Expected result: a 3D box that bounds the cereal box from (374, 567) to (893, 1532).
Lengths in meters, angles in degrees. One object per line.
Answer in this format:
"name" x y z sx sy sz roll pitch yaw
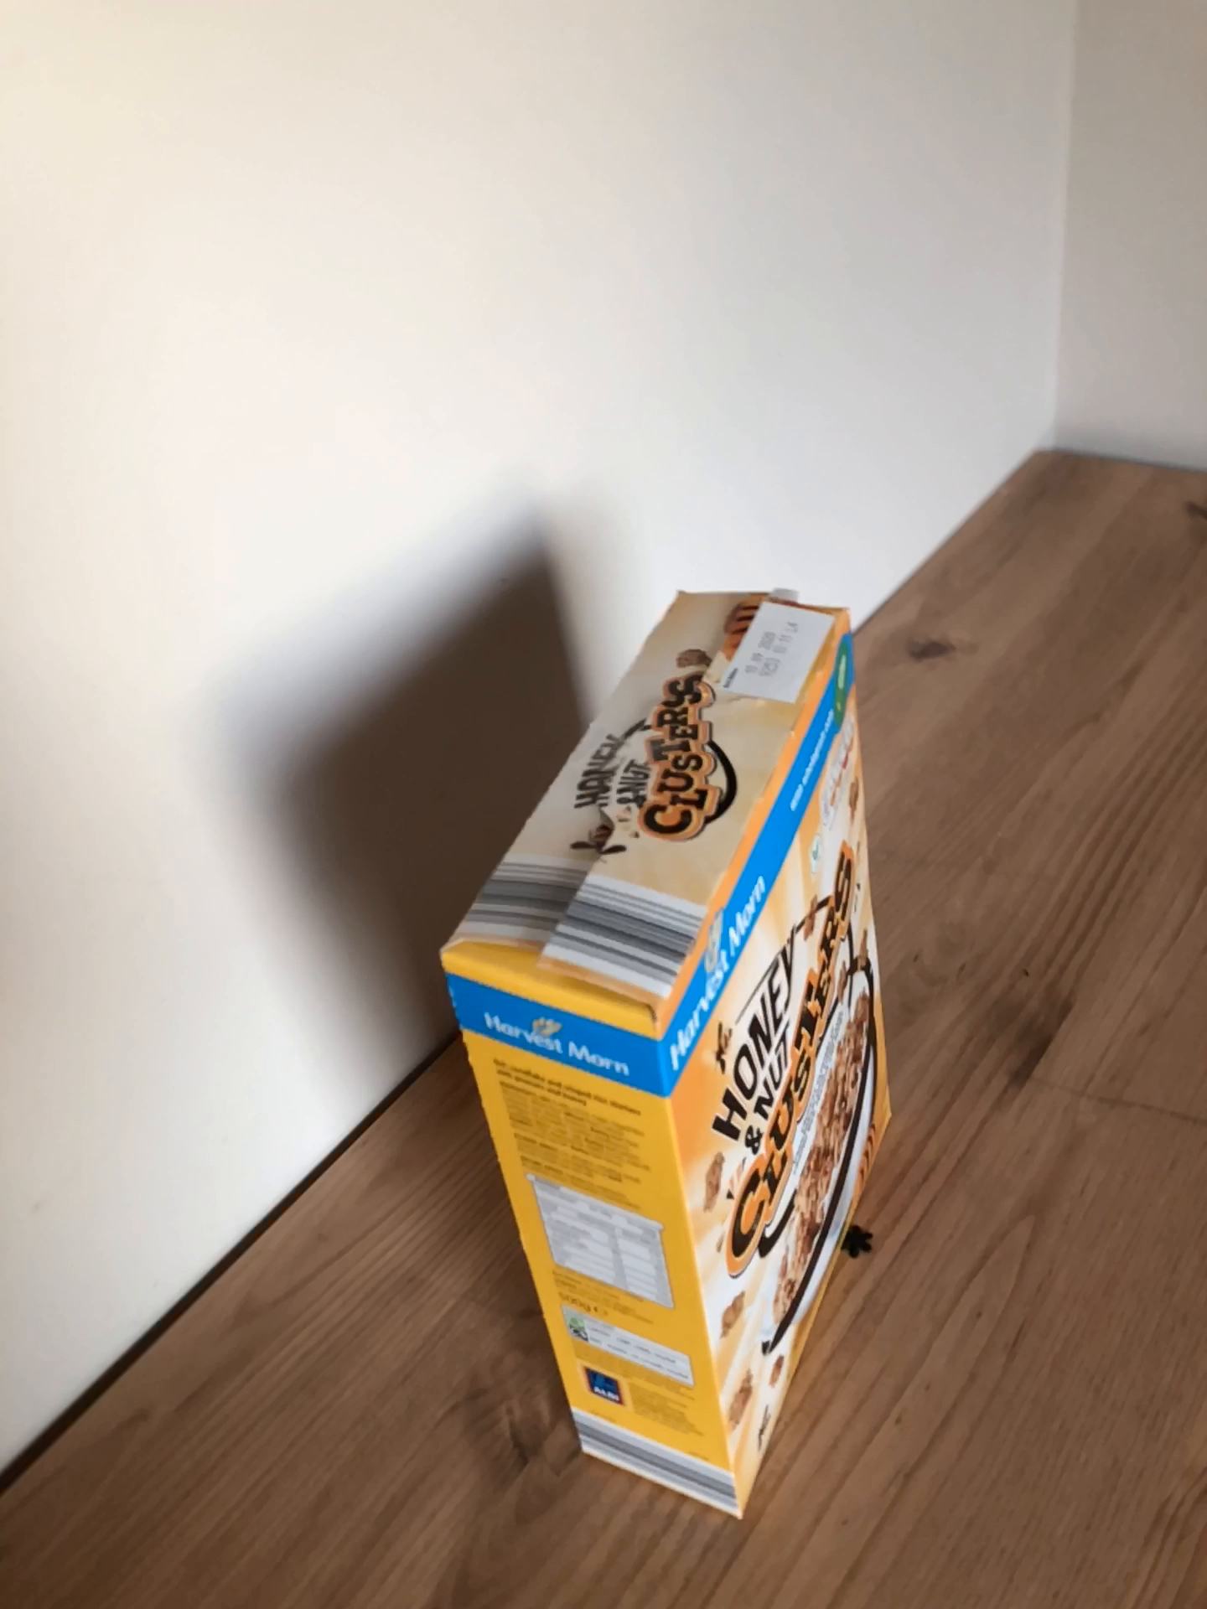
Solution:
"cereal box" 0.035 0.082 0.440 0.070 0.248 0.191 11 43 24
